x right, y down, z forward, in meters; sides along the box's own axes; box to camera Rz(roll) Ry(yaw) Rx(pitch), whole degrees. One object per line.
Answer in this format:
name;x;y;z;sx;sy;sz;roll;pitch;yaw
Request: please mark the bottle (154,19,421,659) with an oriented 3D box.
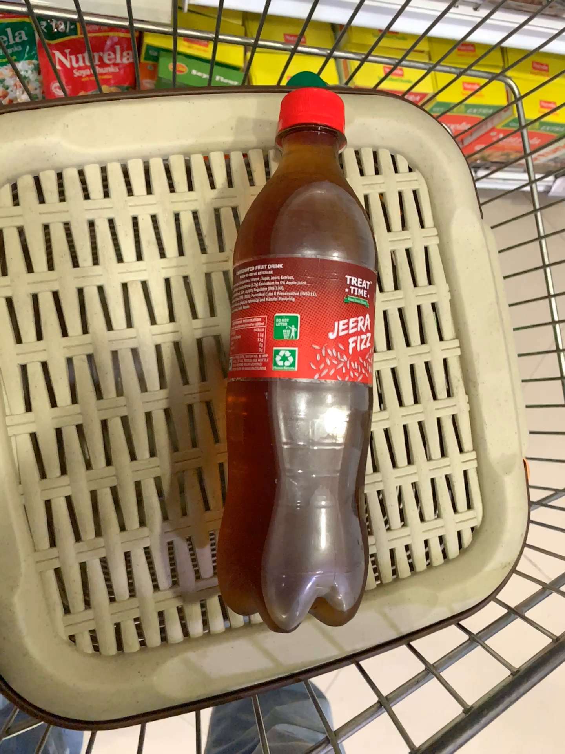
bottle;0.004;-0.014;0.260;0.080;0.070;0.230;7;85;-40
